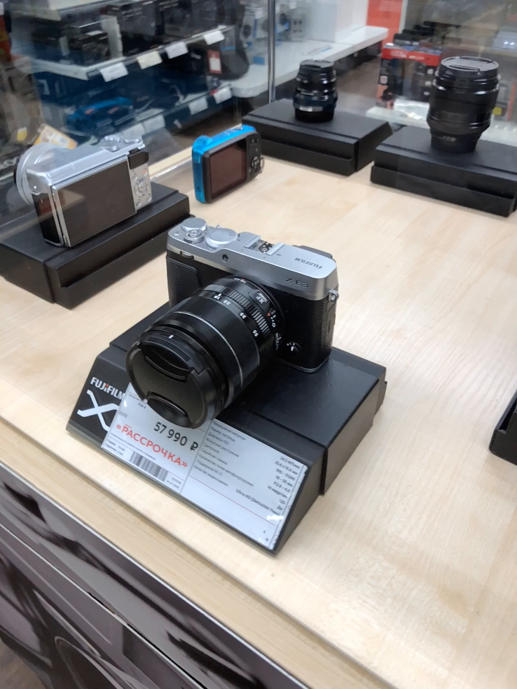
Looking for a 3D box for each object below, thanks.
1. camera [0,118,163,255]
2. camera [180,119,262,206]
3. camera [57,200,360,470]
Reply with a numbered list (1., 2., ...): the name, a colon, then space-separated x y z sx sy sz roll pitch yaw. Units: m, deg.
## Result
1. camera: -0.166 -0.152 0.535 0.077 0.068 0.132 23 44 26
2. camera: -0.043 -0.215 0.672 0.036 0.064 0.101 28 46 27
3. camera: -0.027 -0.016 0.356 0.132 0.080 0.116 24 45 26
